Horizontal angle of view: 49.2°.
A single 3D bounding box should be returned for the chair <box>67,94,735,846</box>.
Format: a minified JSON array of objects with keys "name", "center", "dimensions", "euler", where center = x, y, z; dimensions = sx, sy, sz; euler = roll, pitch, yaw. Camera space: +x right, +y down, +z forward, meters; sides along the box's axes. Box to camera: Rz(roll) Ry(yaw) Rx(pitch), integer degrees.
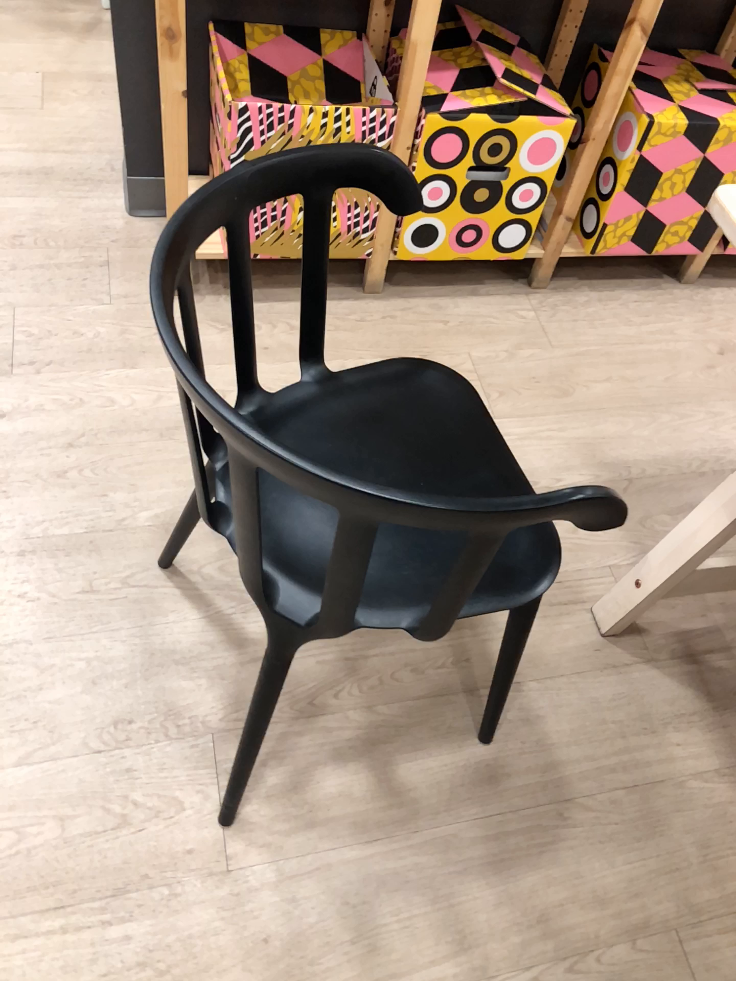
[{"name":"chair","center":[-0.009,-0.006,0.989],"dimensions":[0.530,0.686,0.533],"euler":[-11,56,-18]}]
